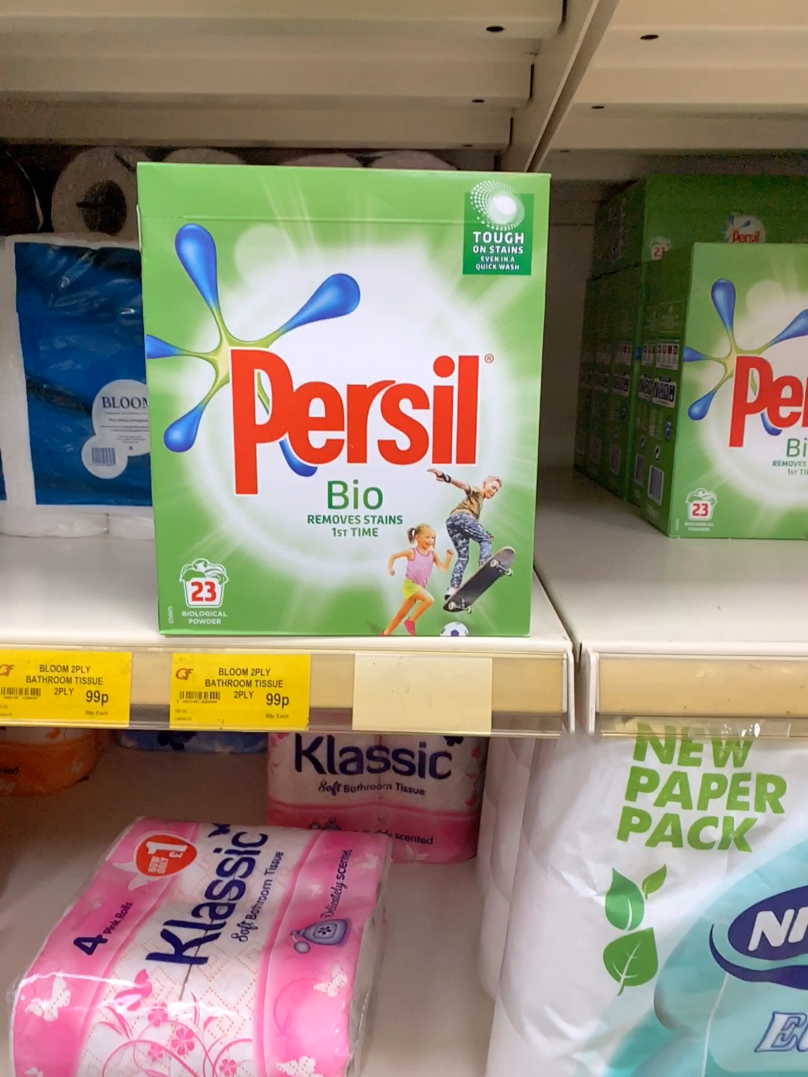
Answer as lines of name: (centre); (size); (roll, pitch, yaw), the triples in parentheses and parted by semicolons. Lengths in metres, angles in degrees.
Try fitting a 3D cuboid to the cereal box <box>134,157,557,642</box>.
cereal box: (-0.029, -0.072, 0.461); (0.200, 0.239, 0.090); (0, 12, -1)
